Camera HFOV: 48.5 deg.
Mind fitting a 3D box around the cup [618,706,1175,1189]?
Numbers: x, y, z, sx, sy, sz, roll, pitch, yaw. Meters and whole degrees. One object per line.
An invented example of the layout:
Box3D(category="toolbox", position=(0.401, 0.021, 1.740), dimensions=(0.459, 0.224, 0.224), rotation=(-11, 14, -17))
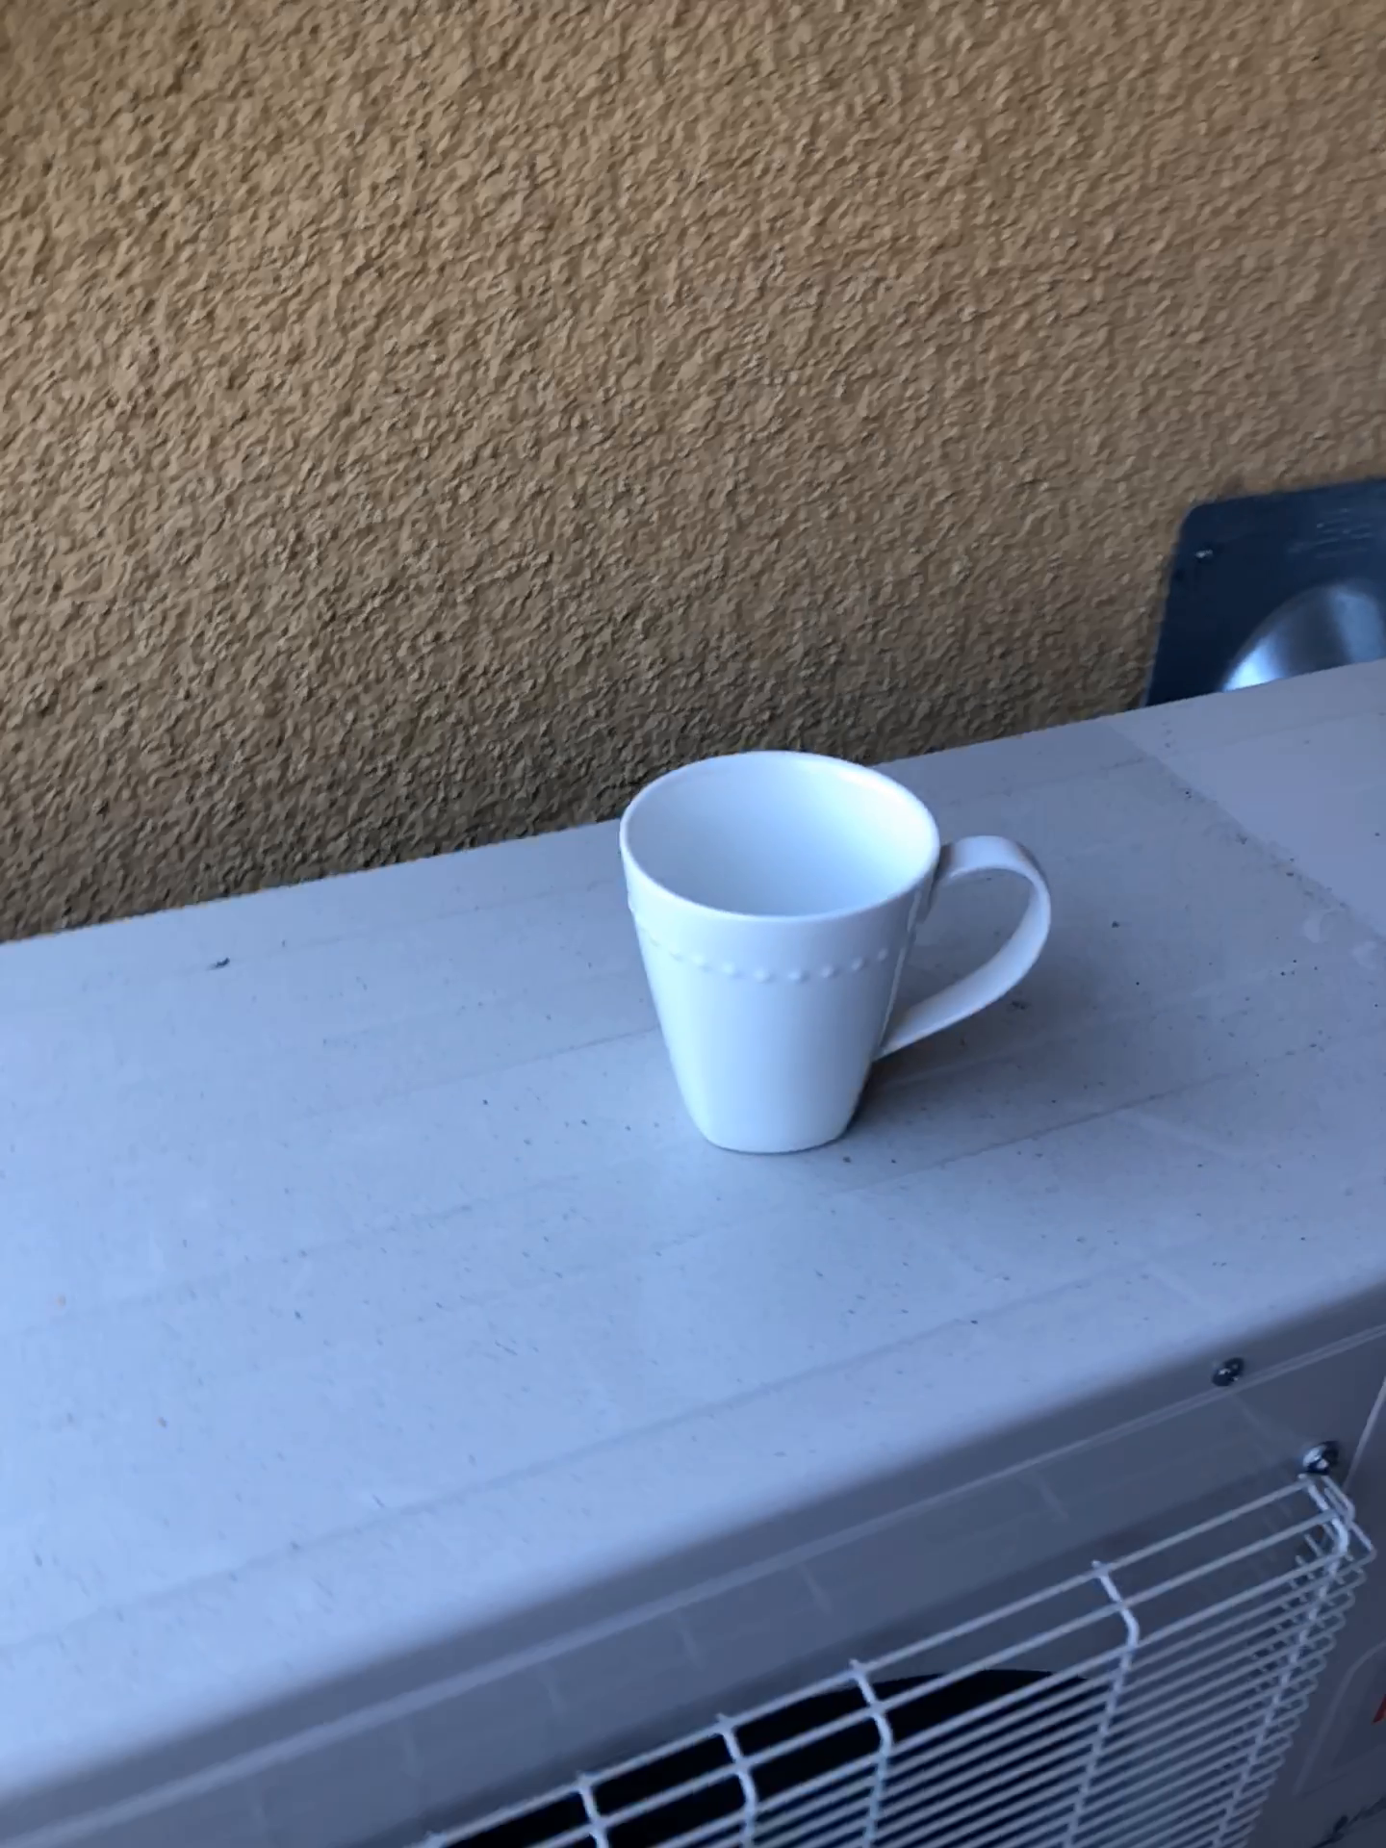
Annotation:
Box3D(category="cup", position=(0.054, 0.003, 0.482), dimensions=(0.140, 0.100, 0.100), rotation=(-5, 34, -10))
